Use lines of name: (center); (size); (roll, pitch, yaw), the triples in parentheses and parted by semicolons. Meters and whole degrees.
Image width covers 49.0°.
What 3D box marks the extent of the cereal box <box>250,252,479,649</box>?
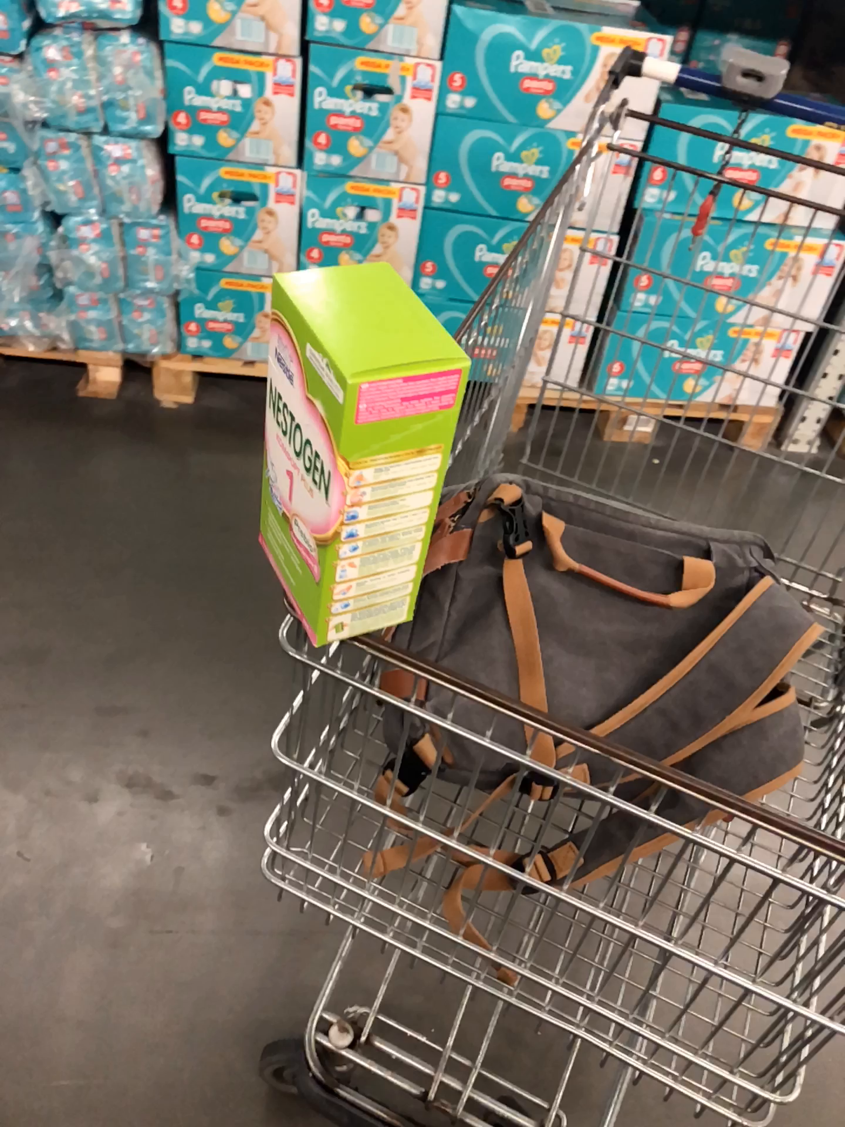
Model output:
cereal box: (-0.042, -0.059, 0.518); (0.070, 0.189, 0.100); (-14, 50, -26)
